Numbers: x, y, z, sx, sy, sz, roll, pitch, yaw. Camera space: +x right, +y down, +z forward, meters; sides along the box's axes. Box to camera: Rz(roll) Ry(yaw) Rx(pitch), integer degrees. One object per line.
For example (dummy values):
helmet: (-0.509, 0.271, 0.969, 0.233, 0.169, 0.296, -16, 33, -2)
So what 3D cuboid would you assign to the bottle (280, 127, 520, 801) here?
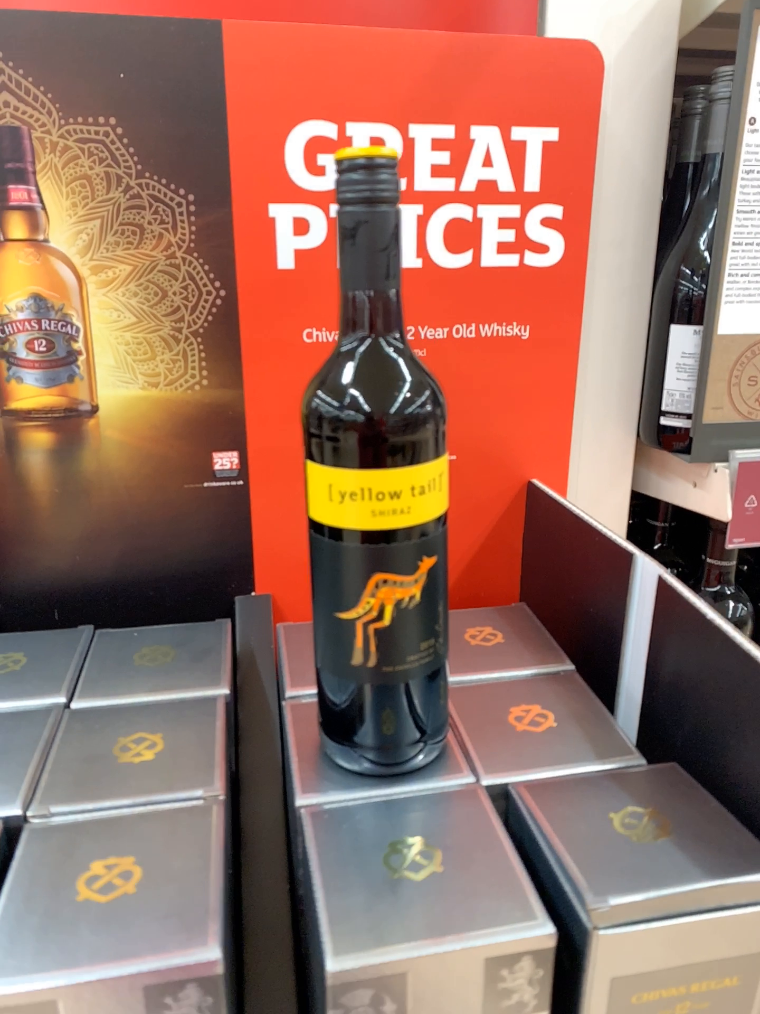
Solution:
bottle: (0.004, -0.014, 0.388, 0.086, 0.308, 0.082, 0, 19, 0)
